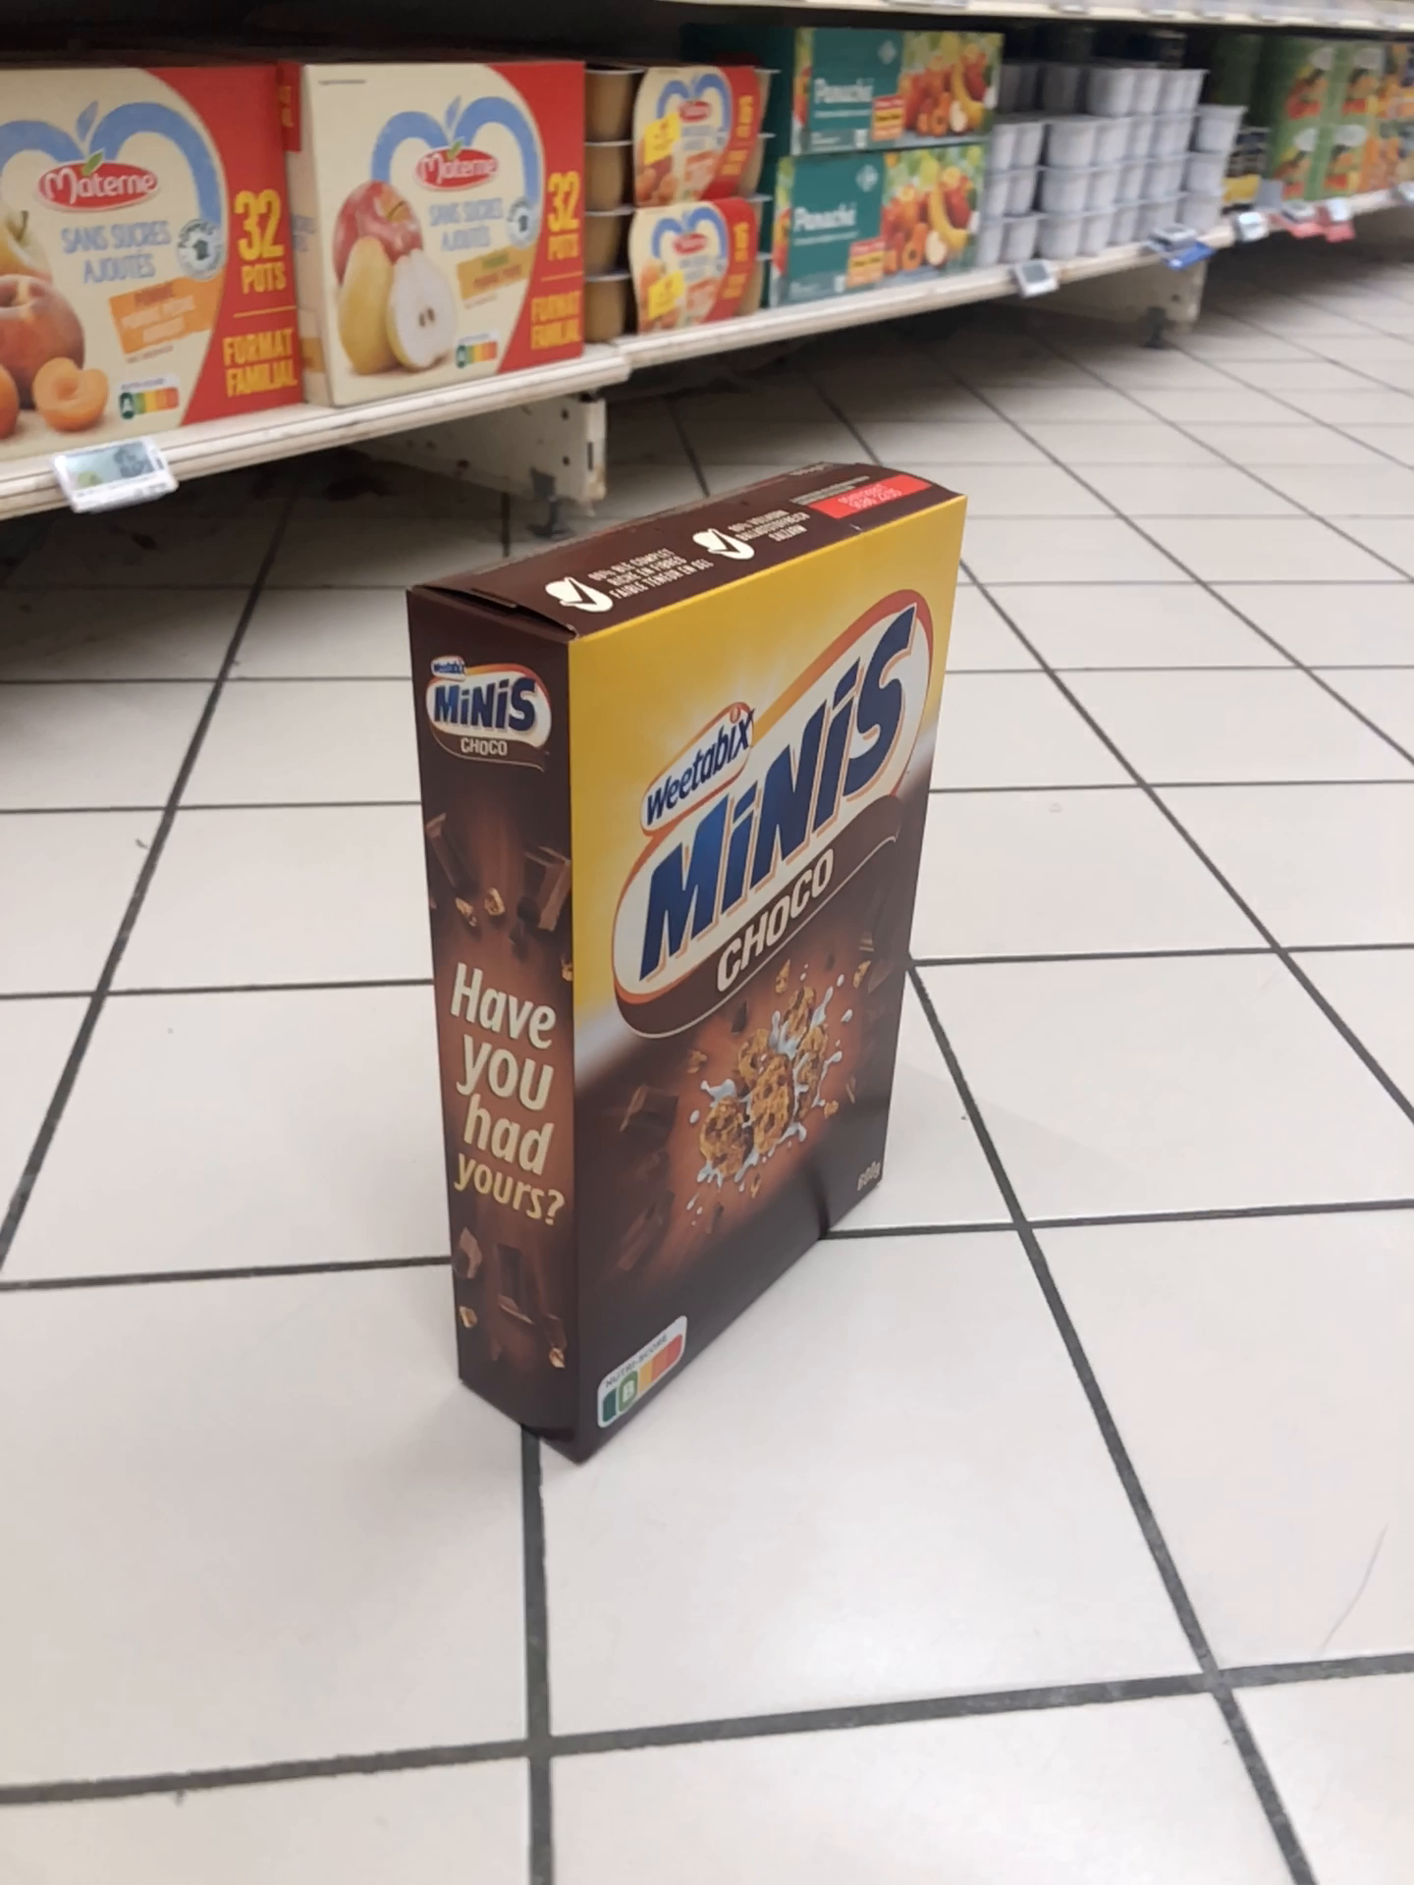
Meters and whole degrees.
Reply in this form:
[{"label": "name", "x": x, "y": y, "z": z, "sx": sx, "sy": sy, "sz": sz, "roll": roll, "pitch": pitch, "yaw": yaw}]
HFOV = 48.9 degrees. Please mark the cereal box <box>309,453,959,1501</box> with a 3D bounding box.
[{"label": "cereal box", "x": -0.016, "y": 0.005, "z": 0.526, "sx": 0.080, "sy": 0.288, "sz": 0.201, "roll": 22, "pitch": 36, "yaw": 30}]
